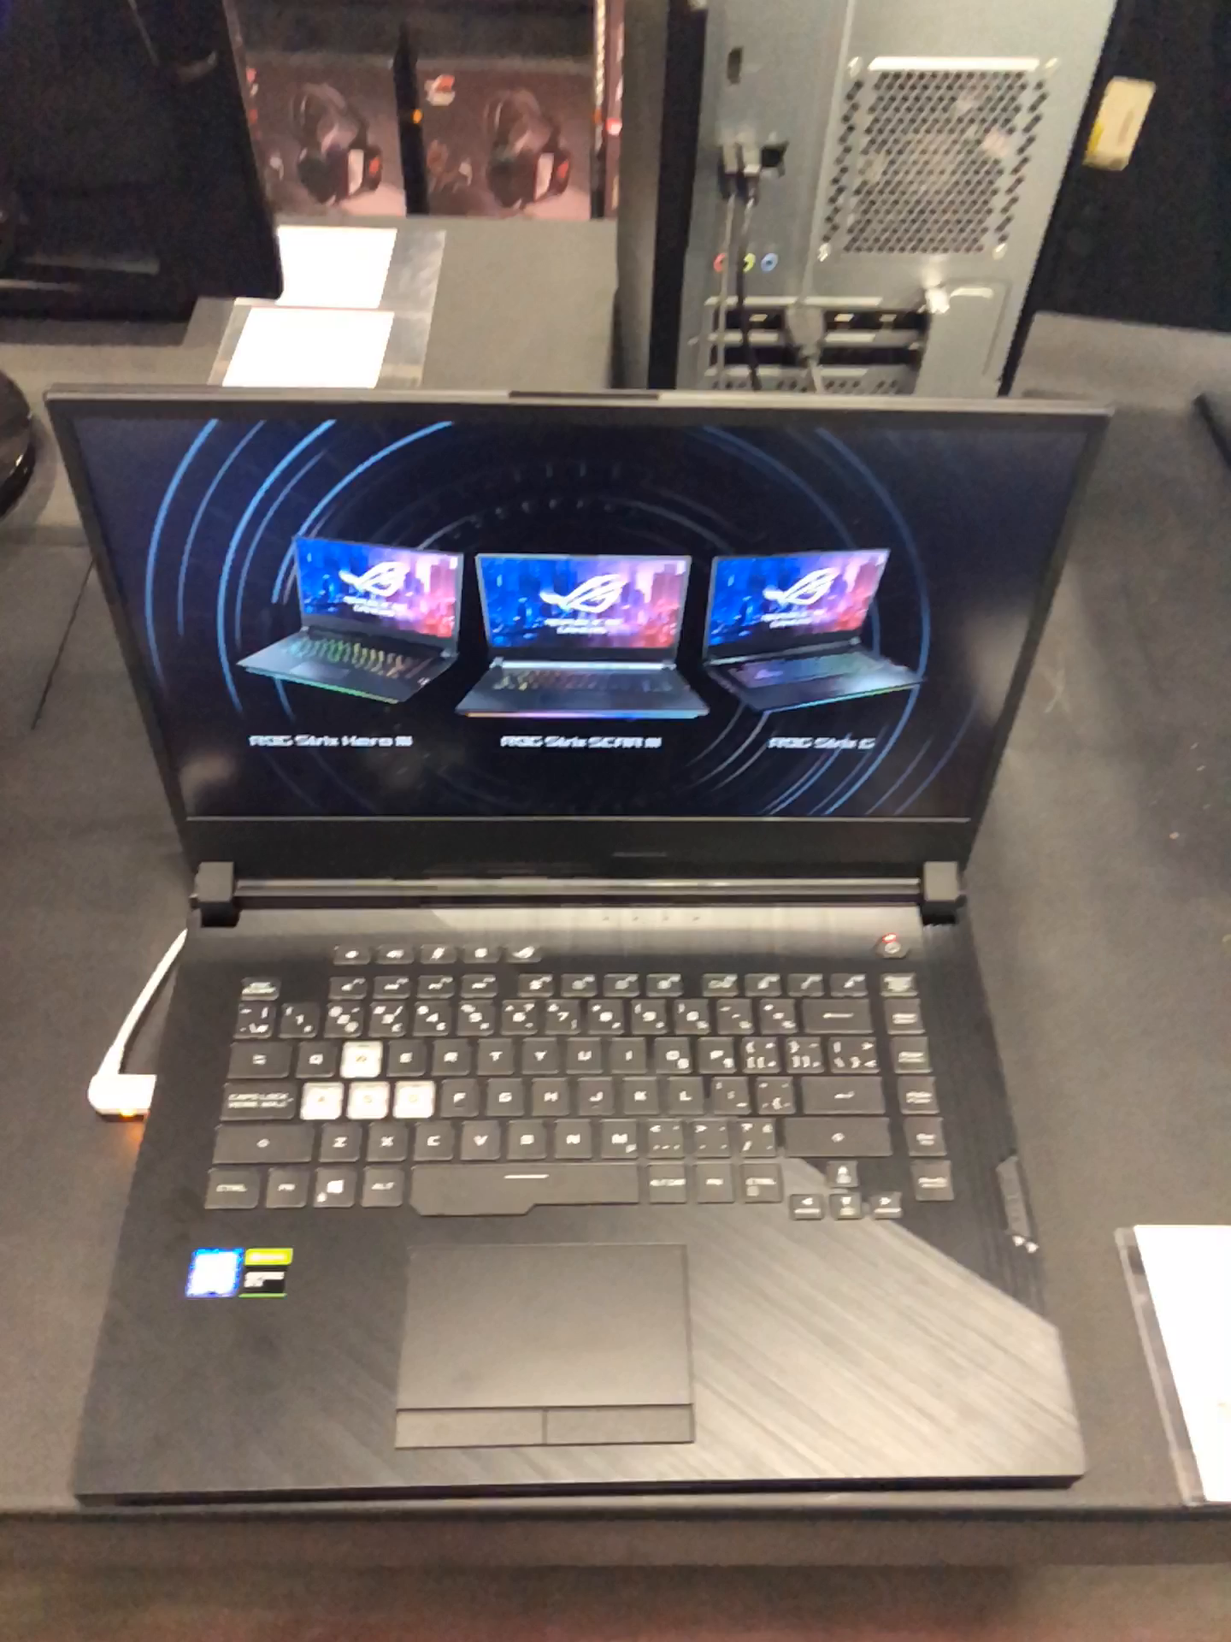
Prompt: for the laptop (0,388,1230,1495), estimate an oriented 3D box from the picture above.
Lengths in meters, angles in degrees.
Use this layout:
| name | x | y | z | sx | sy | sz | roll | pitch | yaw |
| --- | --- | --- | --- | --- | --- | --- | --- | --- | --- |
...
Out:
| name | x | y | z | sx | sy | sz | roll | pitch | yaw |
| --- | --- | --- | --- | --- | --- | --- | --- | --- | --- |
| laptop | -0.011 | 0.046 | 0.455 | 0.349 | 0.244 | 0.281 | 0 | 52 | -2 |
